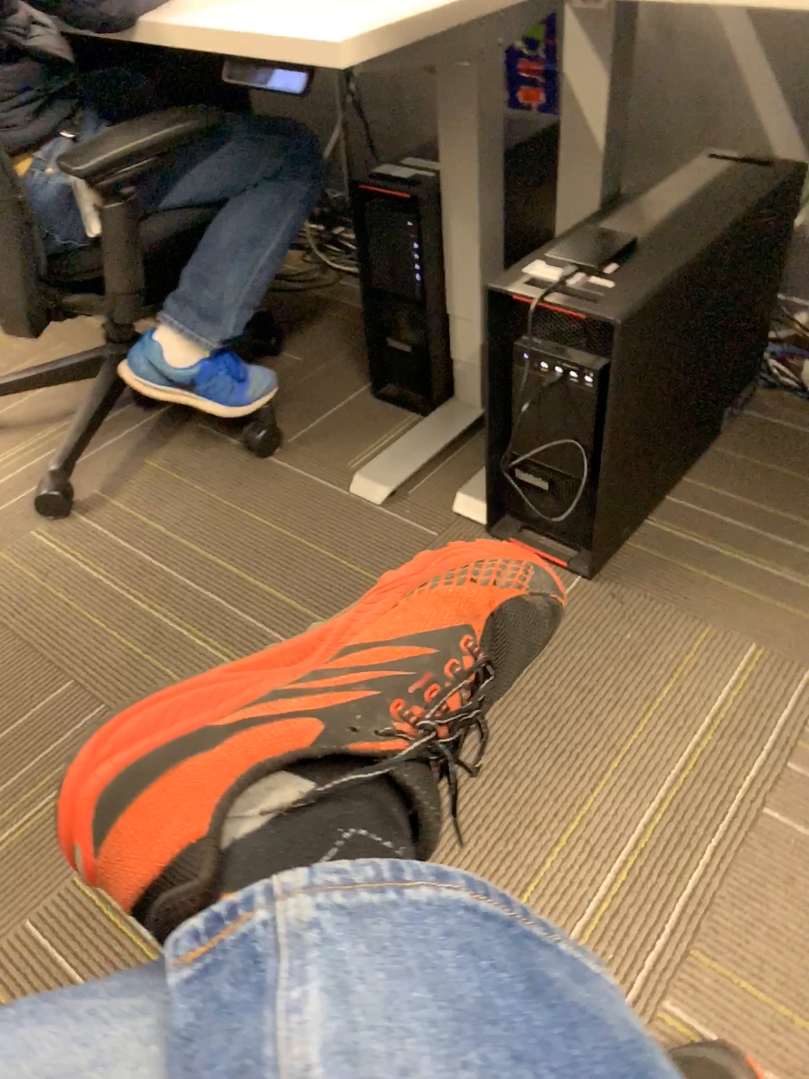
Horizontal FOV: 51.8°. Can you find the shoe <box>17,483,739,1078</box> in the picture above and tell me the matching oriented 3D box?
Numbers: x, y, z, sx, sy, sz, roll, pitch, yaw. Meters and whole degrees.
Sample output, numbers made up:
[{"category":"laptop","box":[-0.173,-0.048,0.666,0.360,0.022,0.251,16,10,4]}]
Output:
[{"category":"shoe","box":[0.002,0.108,0.428,0.321,0.110,0.146,-28,40,-26]}]

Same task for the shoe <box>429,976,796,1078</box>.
[{"category":"shoe","box":[0.187,0.551,0.752,0.318,0.067,0.118,-25,49,-21]}]

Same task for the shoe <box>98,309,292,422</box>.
[{"category":"shoe","box":[-0.393,-0.324,1.582,0.318,0.115,0.115,3,35,-41]}]
